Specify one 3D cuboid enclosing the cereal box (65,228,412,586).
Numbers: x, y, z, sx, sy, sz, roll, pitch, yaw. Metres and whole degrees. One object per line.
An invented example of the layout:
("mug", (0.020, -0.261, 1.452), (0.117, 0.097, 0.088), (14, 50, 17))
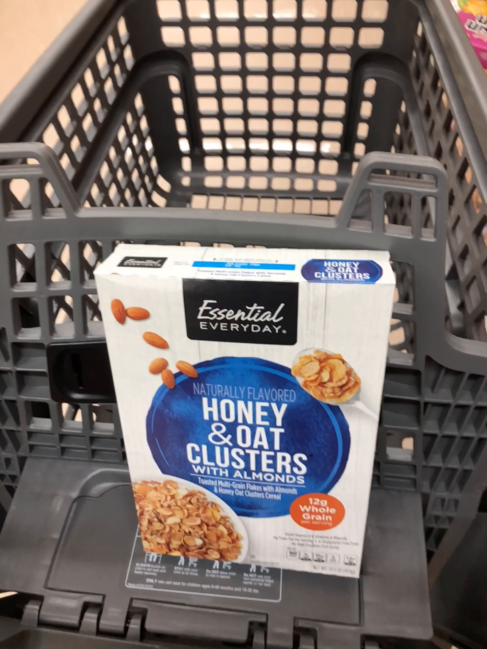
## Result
("cereal box", (-0.001, 0.073, 0.416), (0.210, 0.280, 0.060), (3, 30, 8))
